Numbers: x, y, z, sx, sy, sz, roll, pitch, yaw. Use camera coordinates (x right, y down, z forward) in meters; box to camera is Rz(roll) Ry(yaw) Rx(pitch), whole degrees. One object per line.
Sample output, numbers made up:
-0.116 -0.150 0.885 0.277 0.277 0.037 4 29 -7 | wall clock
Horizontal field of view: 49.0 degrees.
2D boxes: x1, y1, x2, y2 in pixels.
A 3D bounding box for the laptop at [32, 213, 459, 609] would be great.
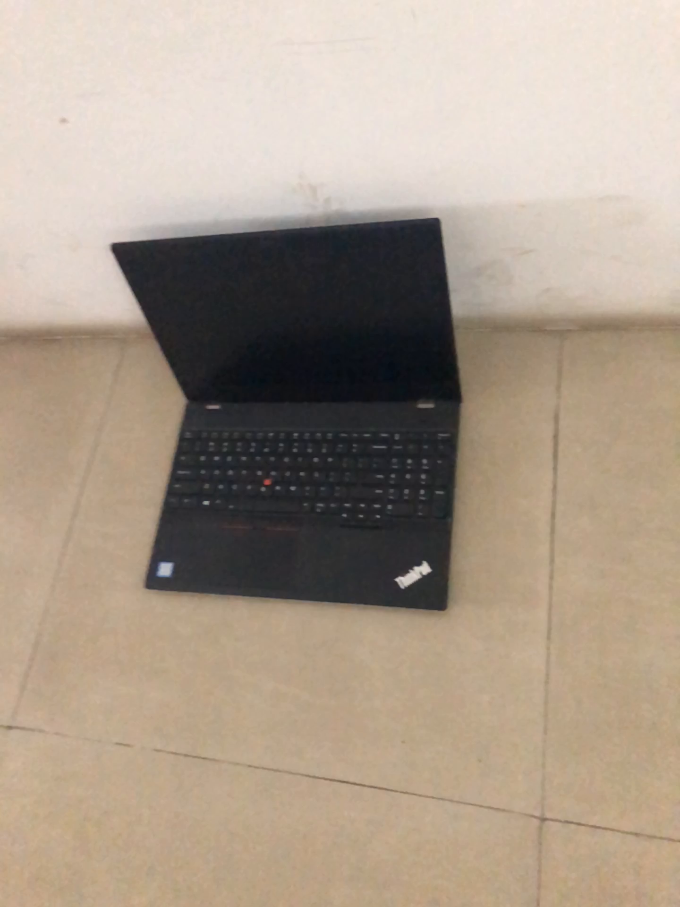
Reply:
-0.071 -0.036 0.796 0.352 0.215 0.328 1 68 16 | laptop
